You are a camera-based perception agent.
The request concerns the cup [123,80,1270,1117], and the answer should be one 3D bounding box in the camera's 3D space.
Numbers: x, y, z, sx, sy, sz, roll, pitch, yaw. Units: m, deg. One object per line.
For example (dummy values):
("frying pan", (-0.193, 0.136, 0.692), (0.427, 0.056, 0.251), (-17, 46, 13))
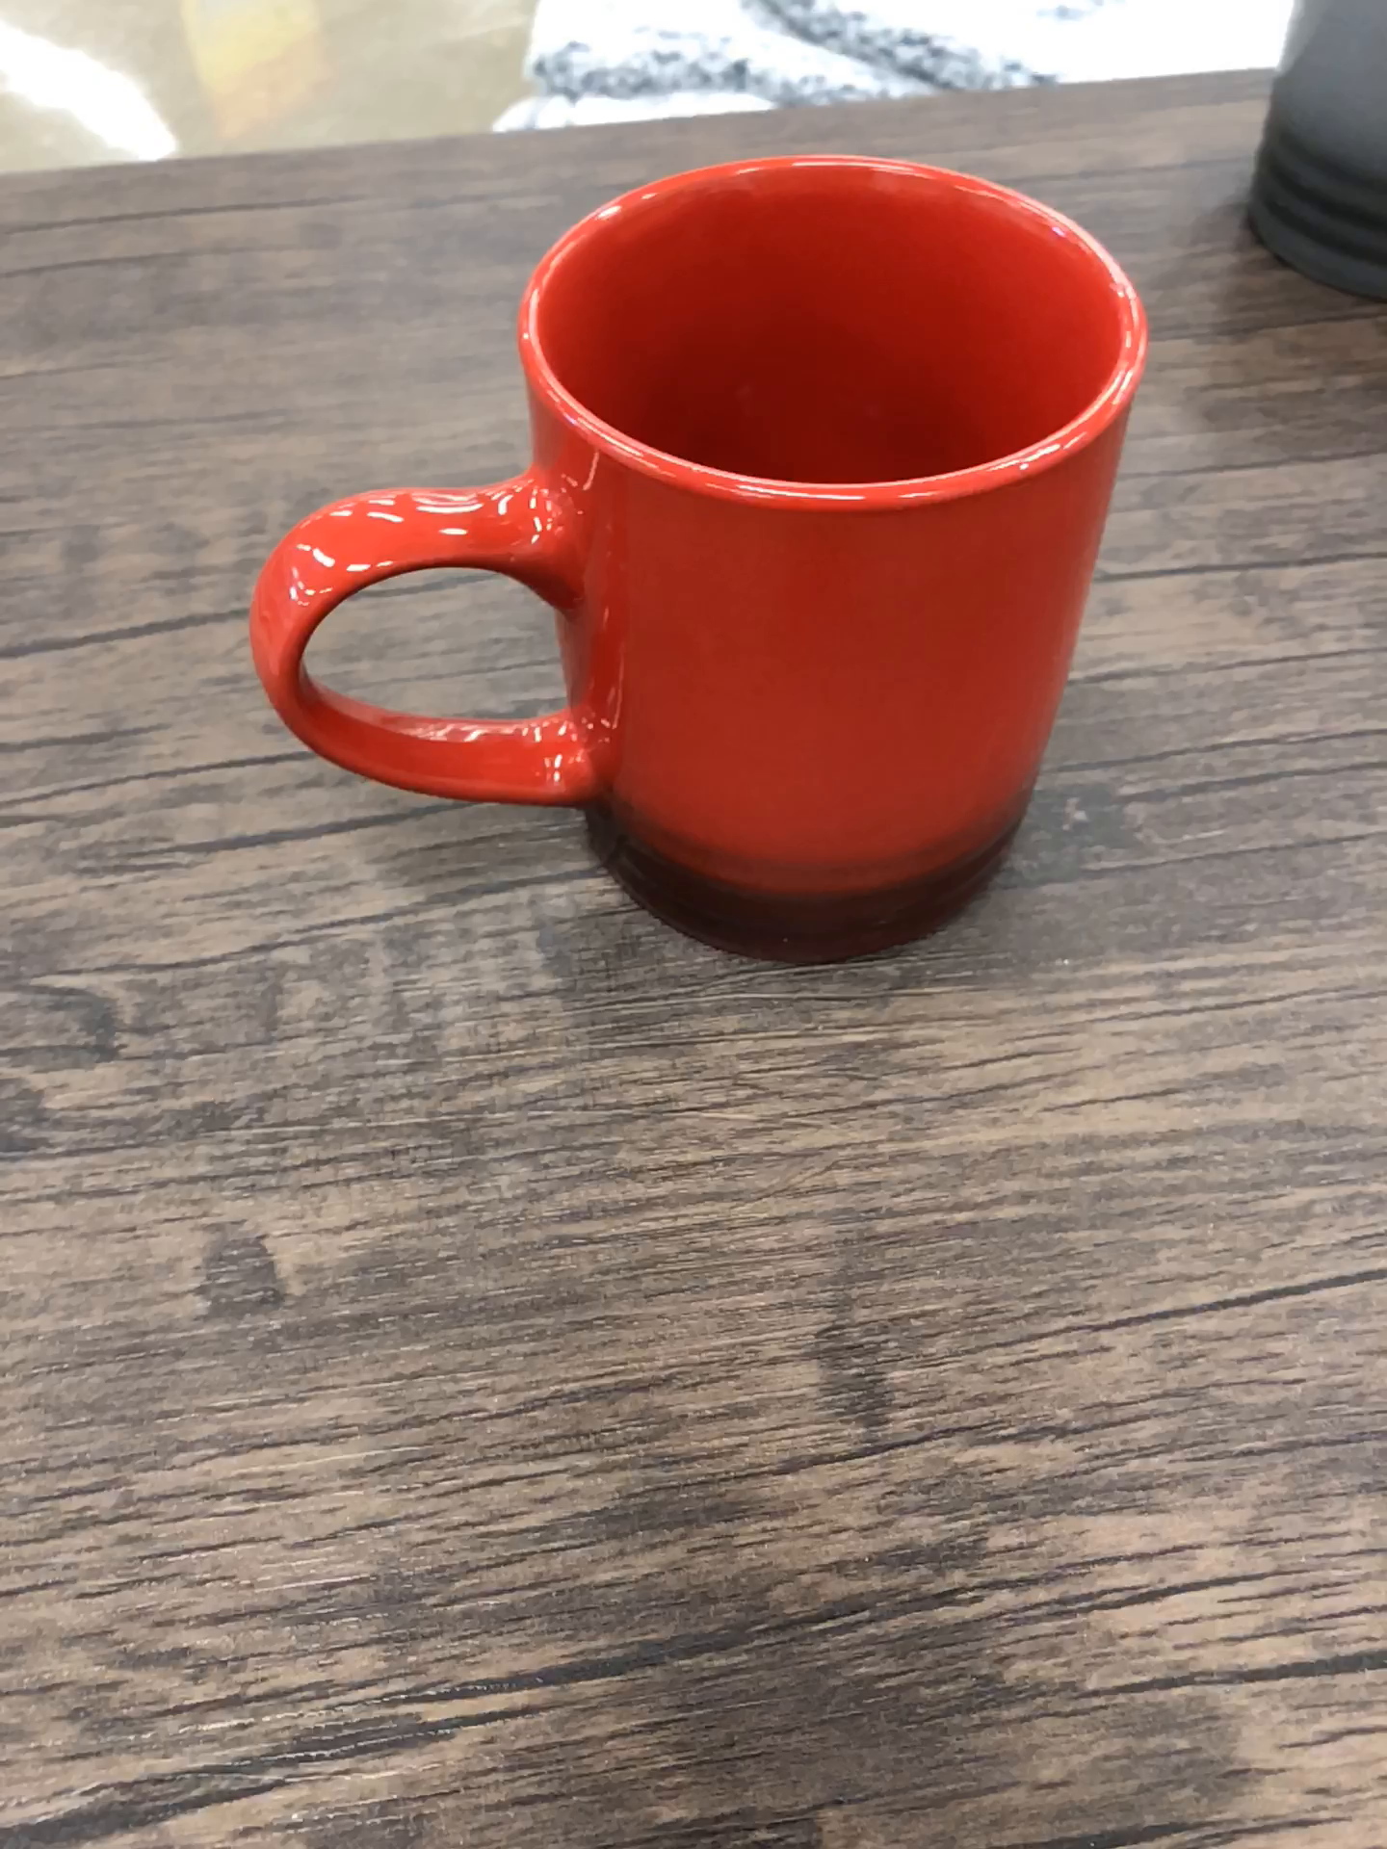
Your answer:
("cup", (-0.006, -0.054, 0.263), (0.140, 0.110, 0.100), (-13, 53, -9))
